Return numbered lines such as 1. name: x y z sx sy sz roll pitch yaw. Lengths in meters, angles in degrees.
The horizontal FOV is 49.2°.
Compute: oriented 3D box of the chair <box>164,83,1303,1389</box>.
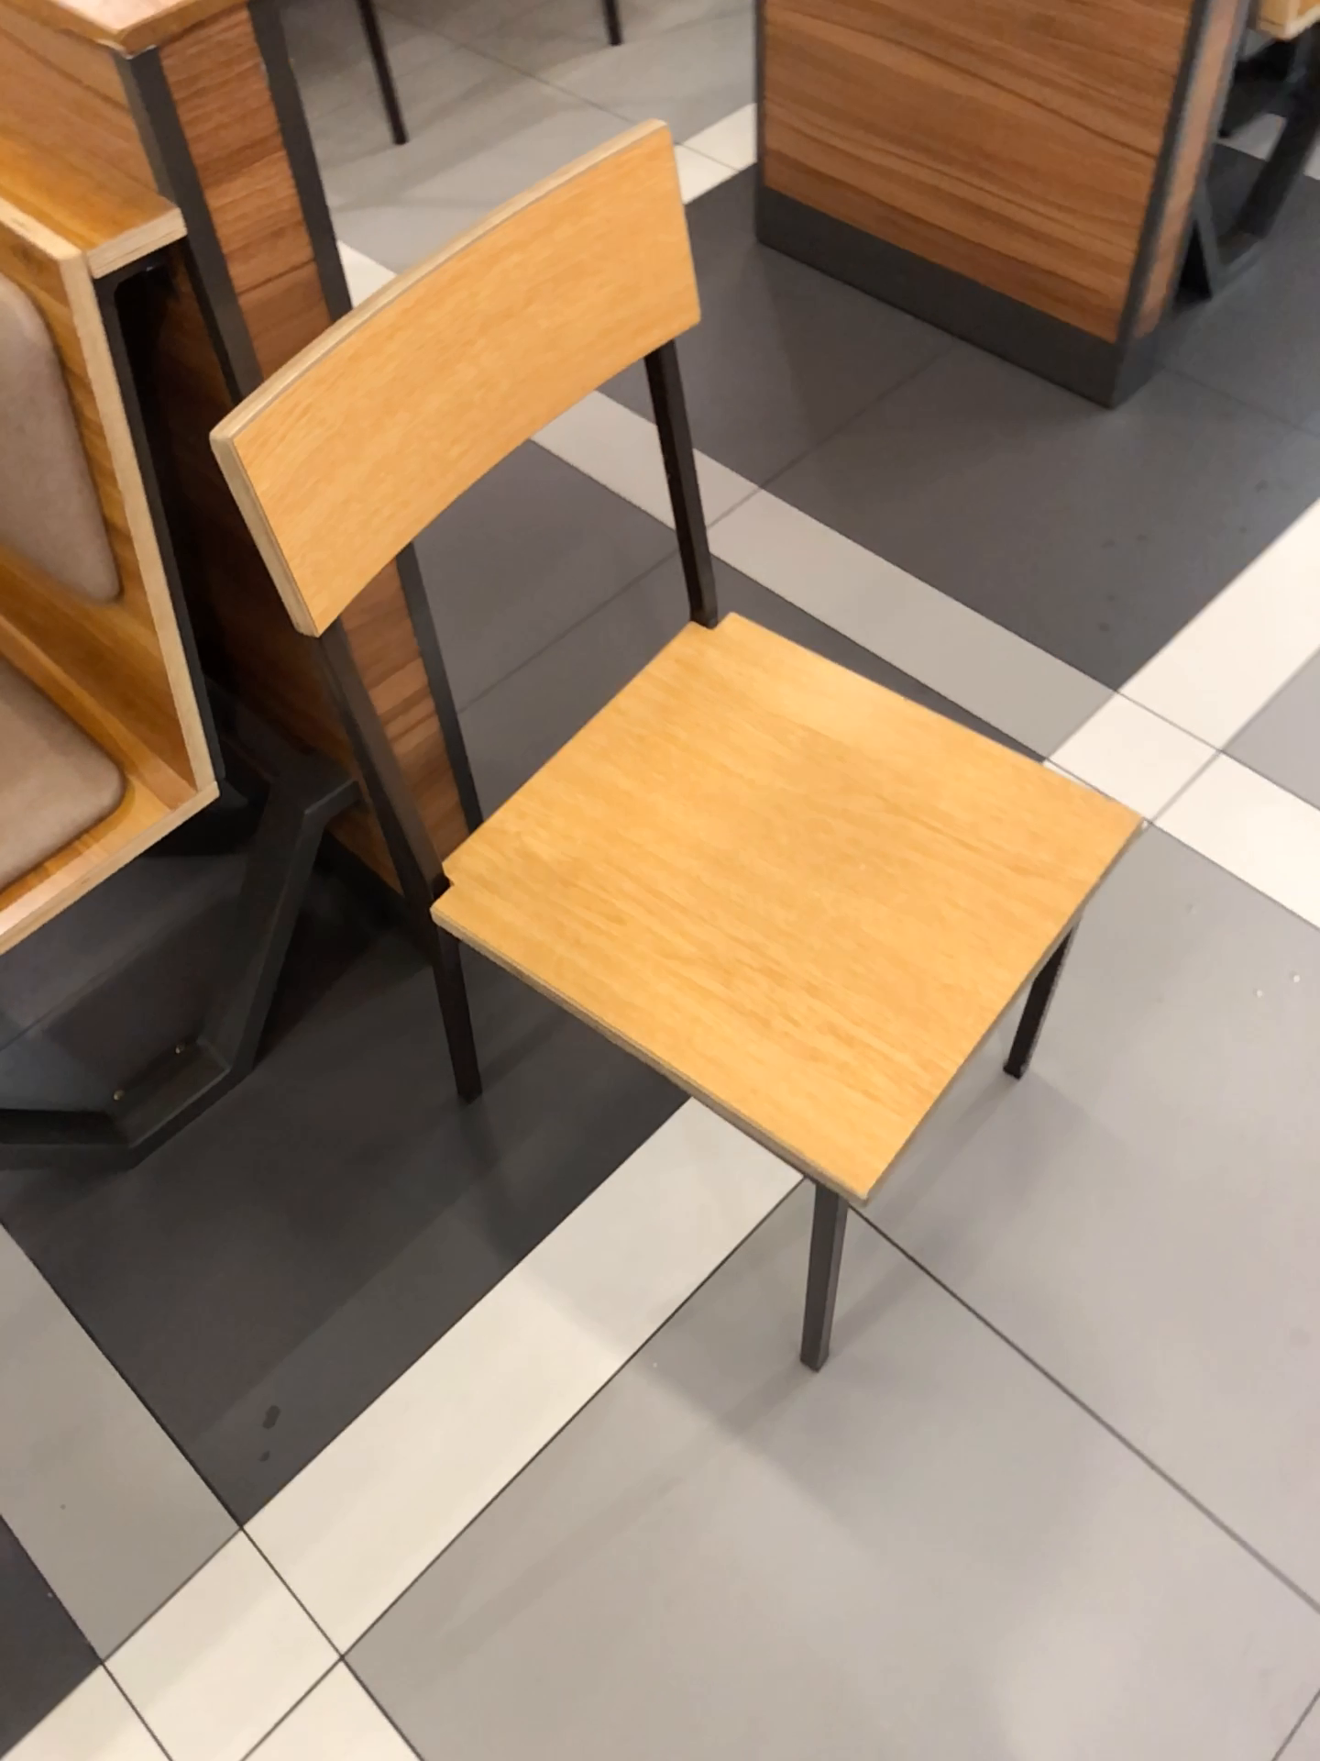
1. chair: 0.065 -0.042 1.135 0.461 0.846 0.431 30 62 23
